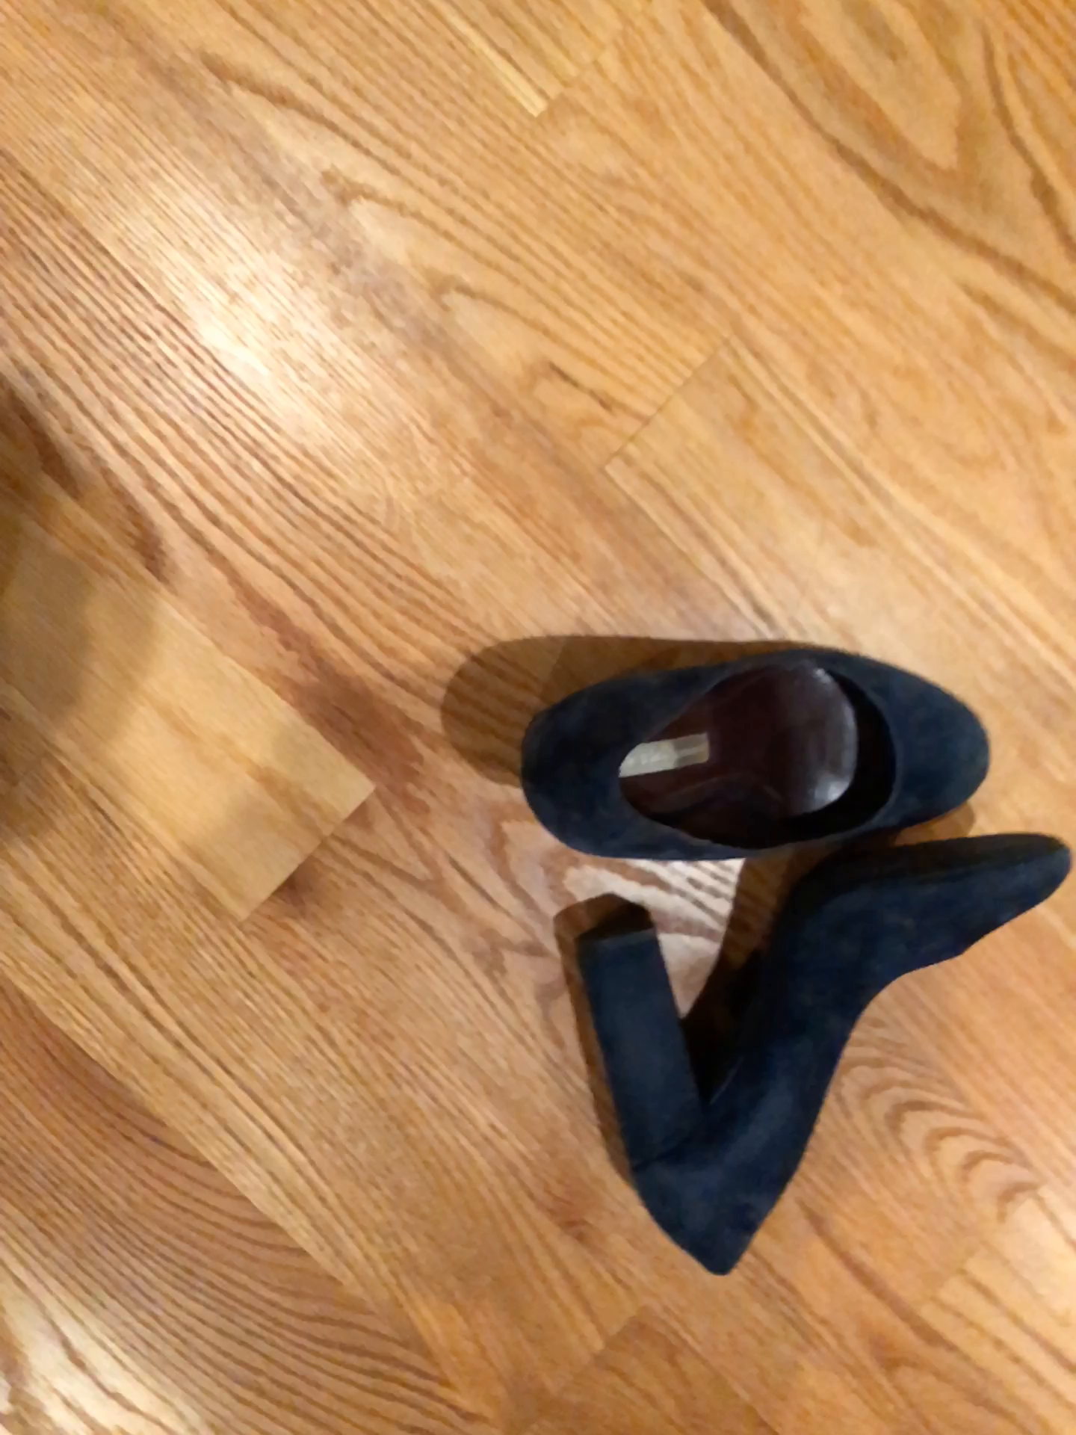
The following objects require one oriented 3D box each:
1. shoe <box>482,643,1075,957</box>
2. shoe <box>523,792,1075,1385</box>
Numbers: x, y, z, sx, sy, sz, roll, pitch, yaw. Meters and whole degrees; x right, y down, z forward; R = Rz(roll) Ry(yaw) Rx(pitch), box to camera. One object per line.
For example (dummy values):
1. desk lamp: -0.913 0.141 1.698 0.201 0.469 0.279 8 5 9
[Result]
1. shoe: 0.097 0.019 0.431 0.226 0.147 0.080 -4 94 -4
2. shoe: 0.116 0.136 0.470 0.204 0.080 0.152 -17 95 -3
